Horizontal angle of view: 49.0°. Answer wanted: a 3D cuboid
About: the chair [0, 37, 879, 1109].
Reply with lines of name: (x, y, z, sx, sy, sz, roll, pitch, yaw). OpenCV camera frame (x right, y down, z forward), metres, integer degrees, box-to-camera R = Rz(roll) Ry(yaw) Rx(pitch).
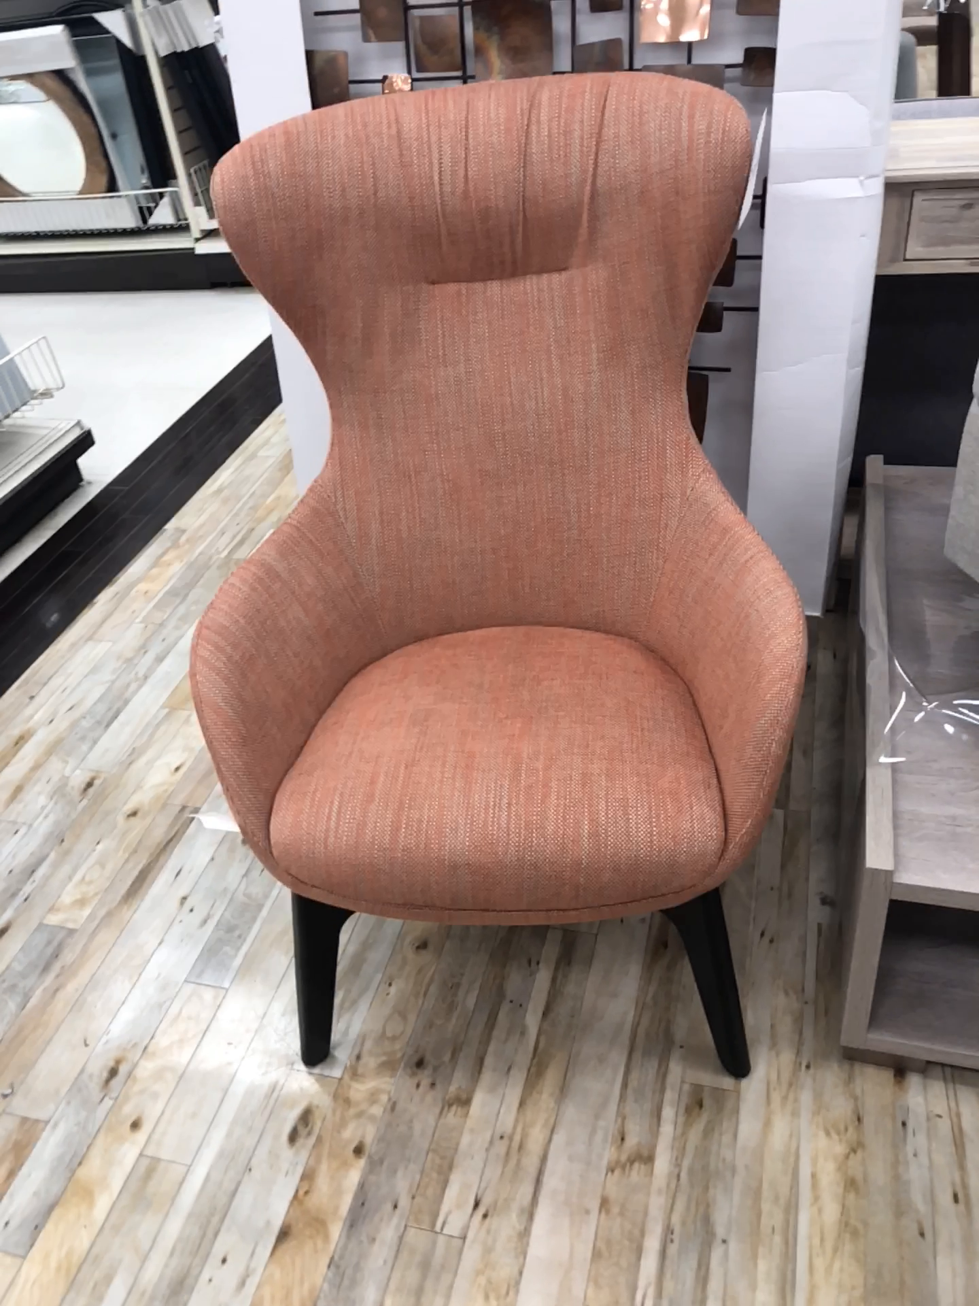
chair: (0.005, -0.082, 1.357, 0.690, 1.065, 0.753, -2, 36, 8)
